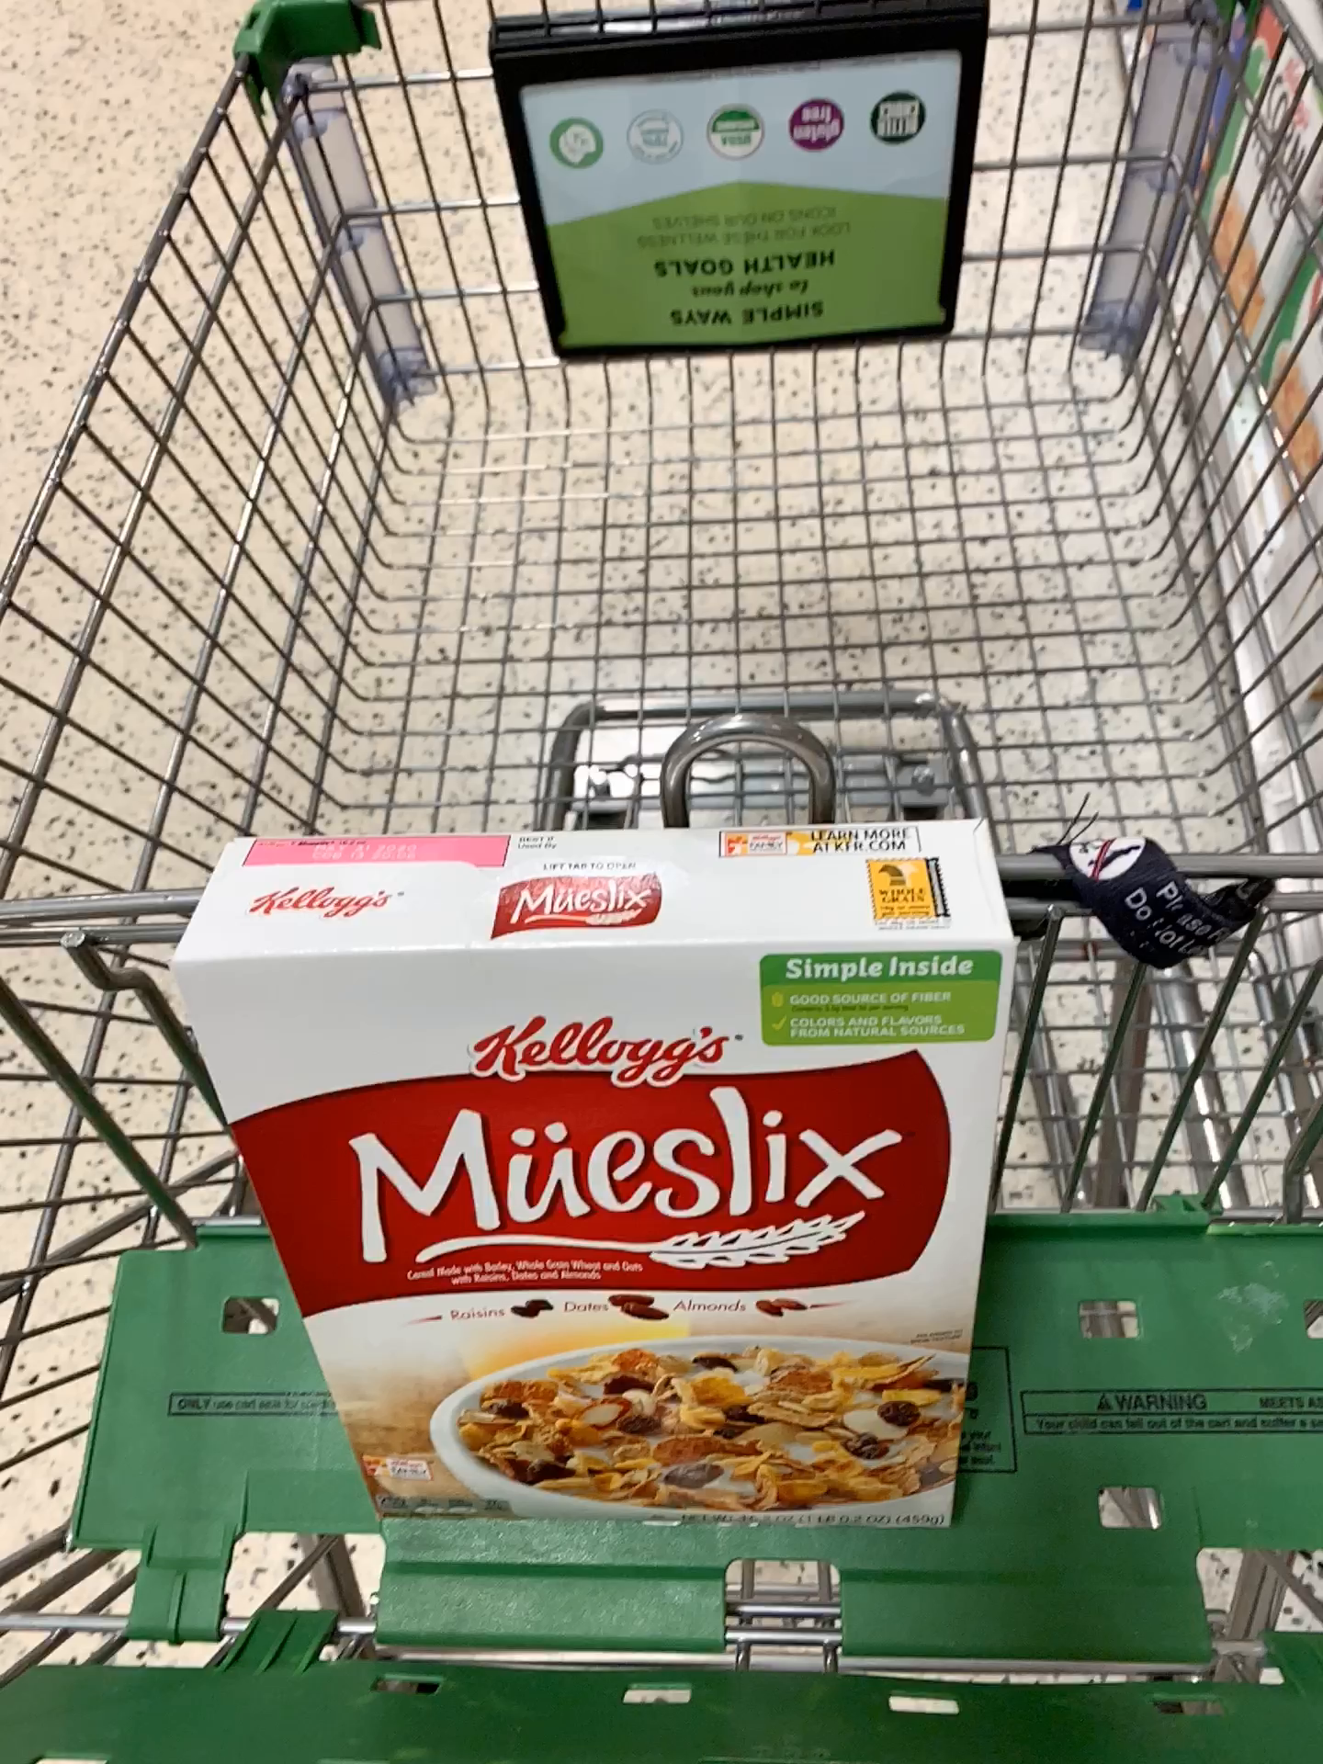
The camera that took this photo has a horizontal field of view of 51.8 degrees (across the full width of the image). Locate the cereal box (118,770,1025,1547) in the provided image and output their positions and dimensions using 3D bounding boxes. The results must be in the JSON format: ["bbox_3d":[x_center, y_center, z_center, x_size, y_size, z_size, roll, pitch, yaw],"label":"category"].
[{"bbox_3d":[-0.013,0.099,0.403,0.200,0.268,0.060,-1,38,4],"label":"cereal box"}]
